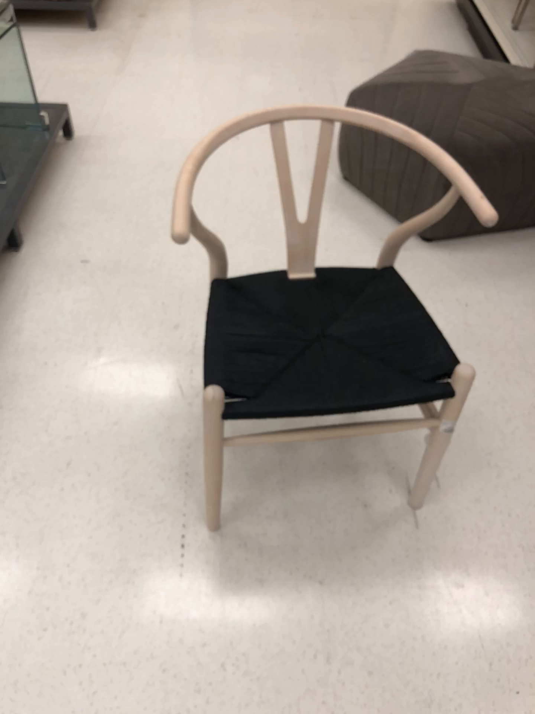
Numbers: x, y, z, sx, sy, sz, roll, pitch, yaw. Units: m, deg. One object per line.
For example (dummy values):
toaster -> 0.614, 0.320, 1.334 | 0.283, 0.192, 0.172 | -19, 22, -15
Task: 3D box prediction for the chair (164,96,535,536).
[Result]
chair -> 0.097, -0.069, 1.295 | 0.559, 0.728, 0.557 | -4, 48, -6
